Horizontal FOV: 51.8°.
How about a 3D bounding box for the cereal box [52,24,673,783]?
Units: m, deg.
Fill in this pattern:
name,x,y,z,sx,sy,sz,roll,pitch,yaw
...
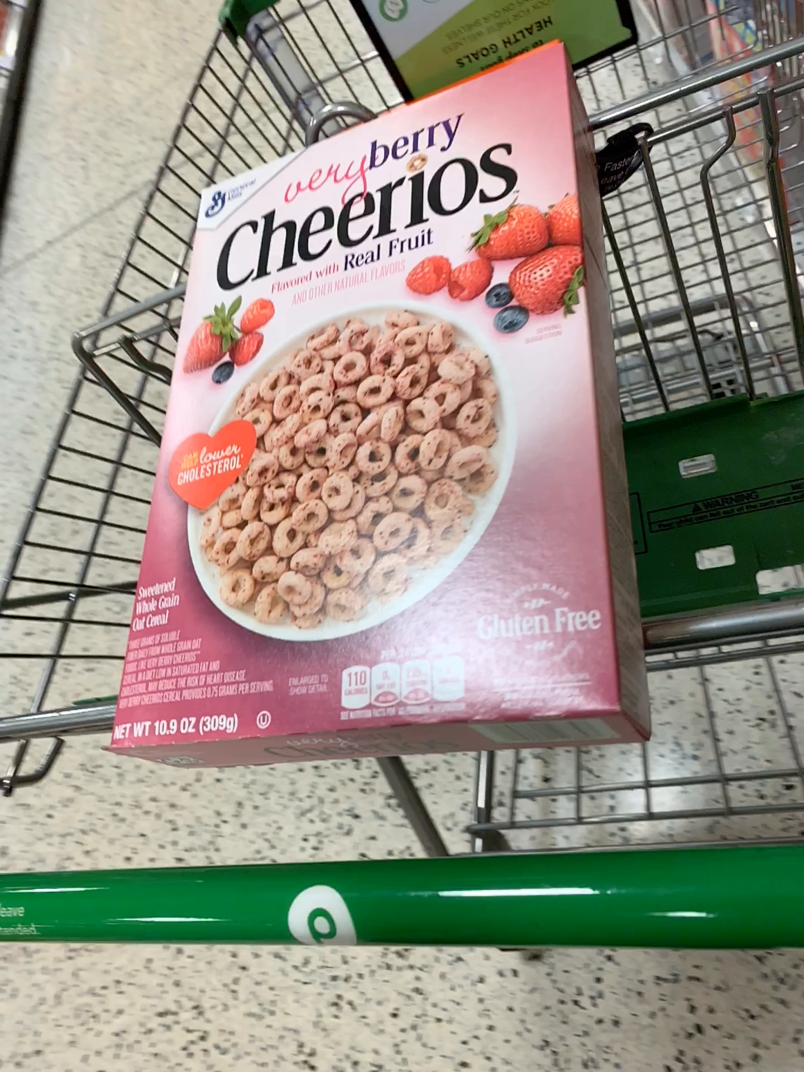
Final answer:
name,x,y,z,sx,sy,sz,roll,pitch,yaw
cereal box,-0.017,-0.050,0.343,0.211,0.059,0.282,-10,63,25
